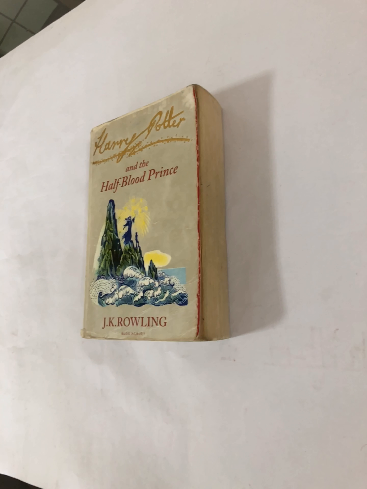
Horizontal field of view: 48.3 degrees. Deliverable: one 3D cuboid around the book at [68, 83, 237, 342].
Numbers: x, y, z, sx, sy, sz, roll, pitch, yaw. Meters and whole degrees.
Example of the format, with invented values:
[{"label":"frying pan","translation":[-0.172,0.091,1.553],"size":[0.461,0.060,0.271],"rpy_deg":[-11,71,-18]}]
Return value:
[{"label":"book","translation":[-0.030,-0.015,0.335],"size":[0.130,0.050,0.181],"rpy_deg":[-9,77,35]}]
